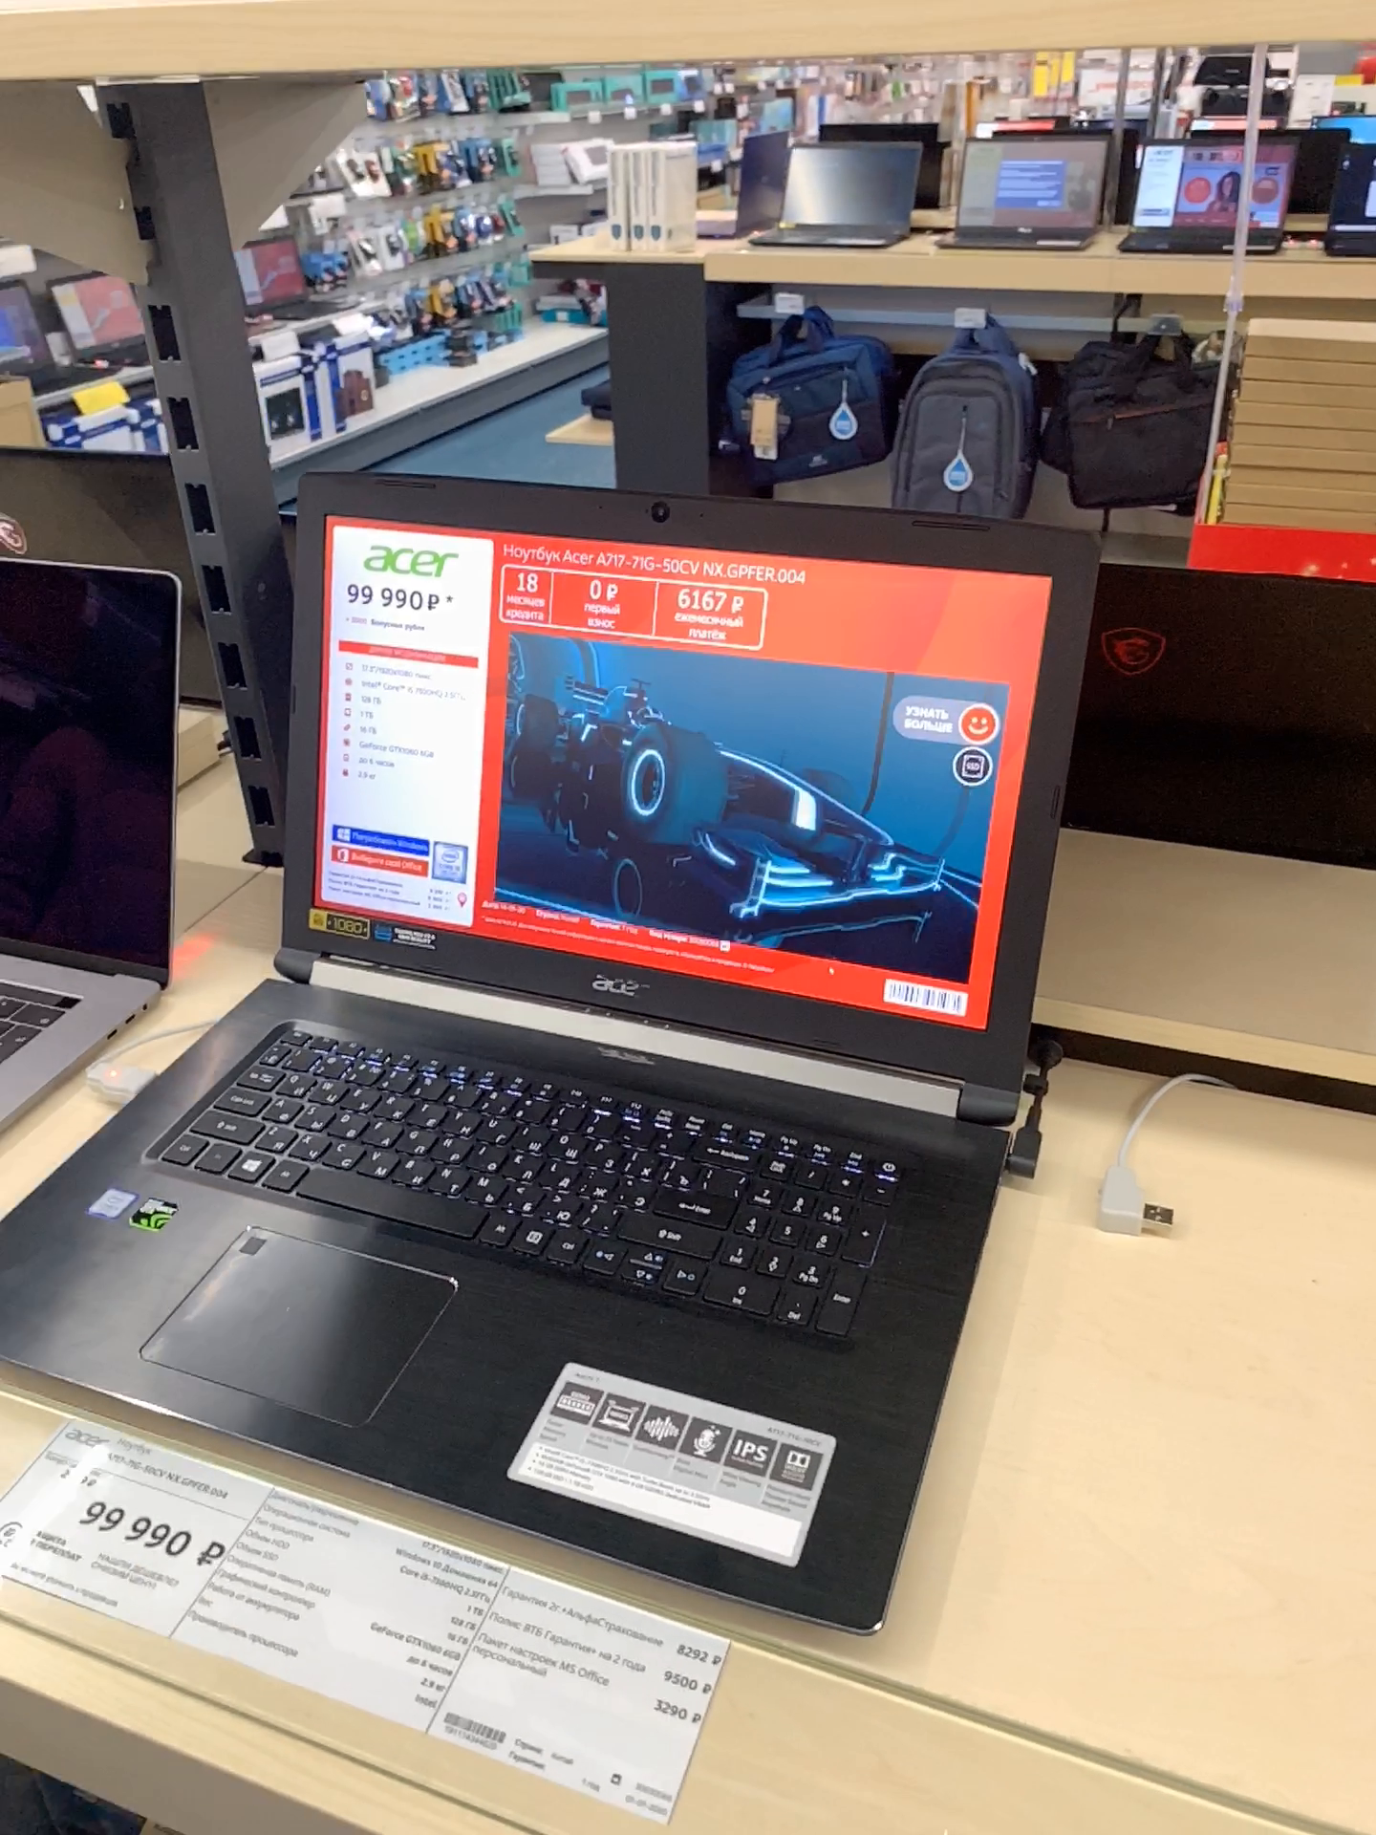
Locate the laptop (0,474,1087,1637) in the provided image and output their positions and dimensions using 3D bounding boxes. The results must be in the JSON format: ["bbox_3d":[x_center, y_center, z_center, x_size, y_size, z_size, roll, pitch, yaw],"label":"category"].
[{"bbox_3d":[-0.073,-0.001,0.596,0.406,0.248,0.364,10,33,18],"label":"laptop"}]
